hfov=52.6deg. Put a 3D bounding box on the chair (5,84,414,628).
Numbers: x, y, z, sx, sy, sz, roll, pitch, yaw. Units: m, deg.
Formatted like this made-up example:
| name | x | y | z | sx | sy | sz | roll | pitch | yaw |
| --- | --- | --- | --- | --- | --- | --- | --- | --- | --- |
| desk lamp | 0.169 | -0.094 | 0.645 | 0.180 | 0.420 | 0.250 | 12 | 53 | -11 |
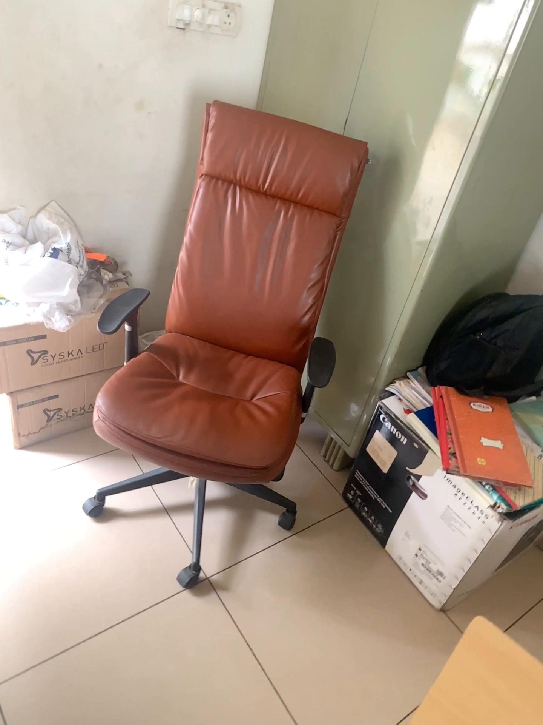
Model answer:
| name | x | y | z | sx | sy | sz | roll | pitch | yaw |
| --- | --- | --- | --- | --- | --- | --- | --- | --- | --- |
| chair | -0.115 | -0.059 | 1.579 | 0.690 | 1.085 | 0.934 | 16 | 36 | 4 |
